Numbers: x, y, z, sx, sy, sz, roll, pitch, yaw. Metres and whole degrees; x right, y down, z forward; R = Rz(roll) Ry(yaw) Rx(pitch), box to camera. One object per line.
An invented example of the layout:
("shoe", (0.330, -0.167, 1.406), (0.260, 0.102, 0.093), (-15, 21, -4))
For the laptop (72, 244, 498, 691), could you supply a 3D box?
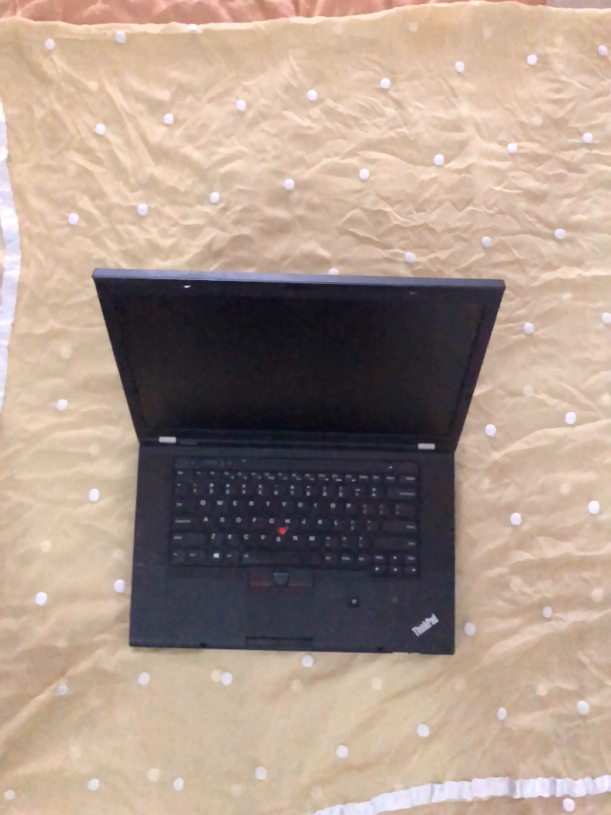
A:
("laptop", (-0.014, 0.061, 0.683), (0.363, 0.192, 0.380), (1, 86, 0))
